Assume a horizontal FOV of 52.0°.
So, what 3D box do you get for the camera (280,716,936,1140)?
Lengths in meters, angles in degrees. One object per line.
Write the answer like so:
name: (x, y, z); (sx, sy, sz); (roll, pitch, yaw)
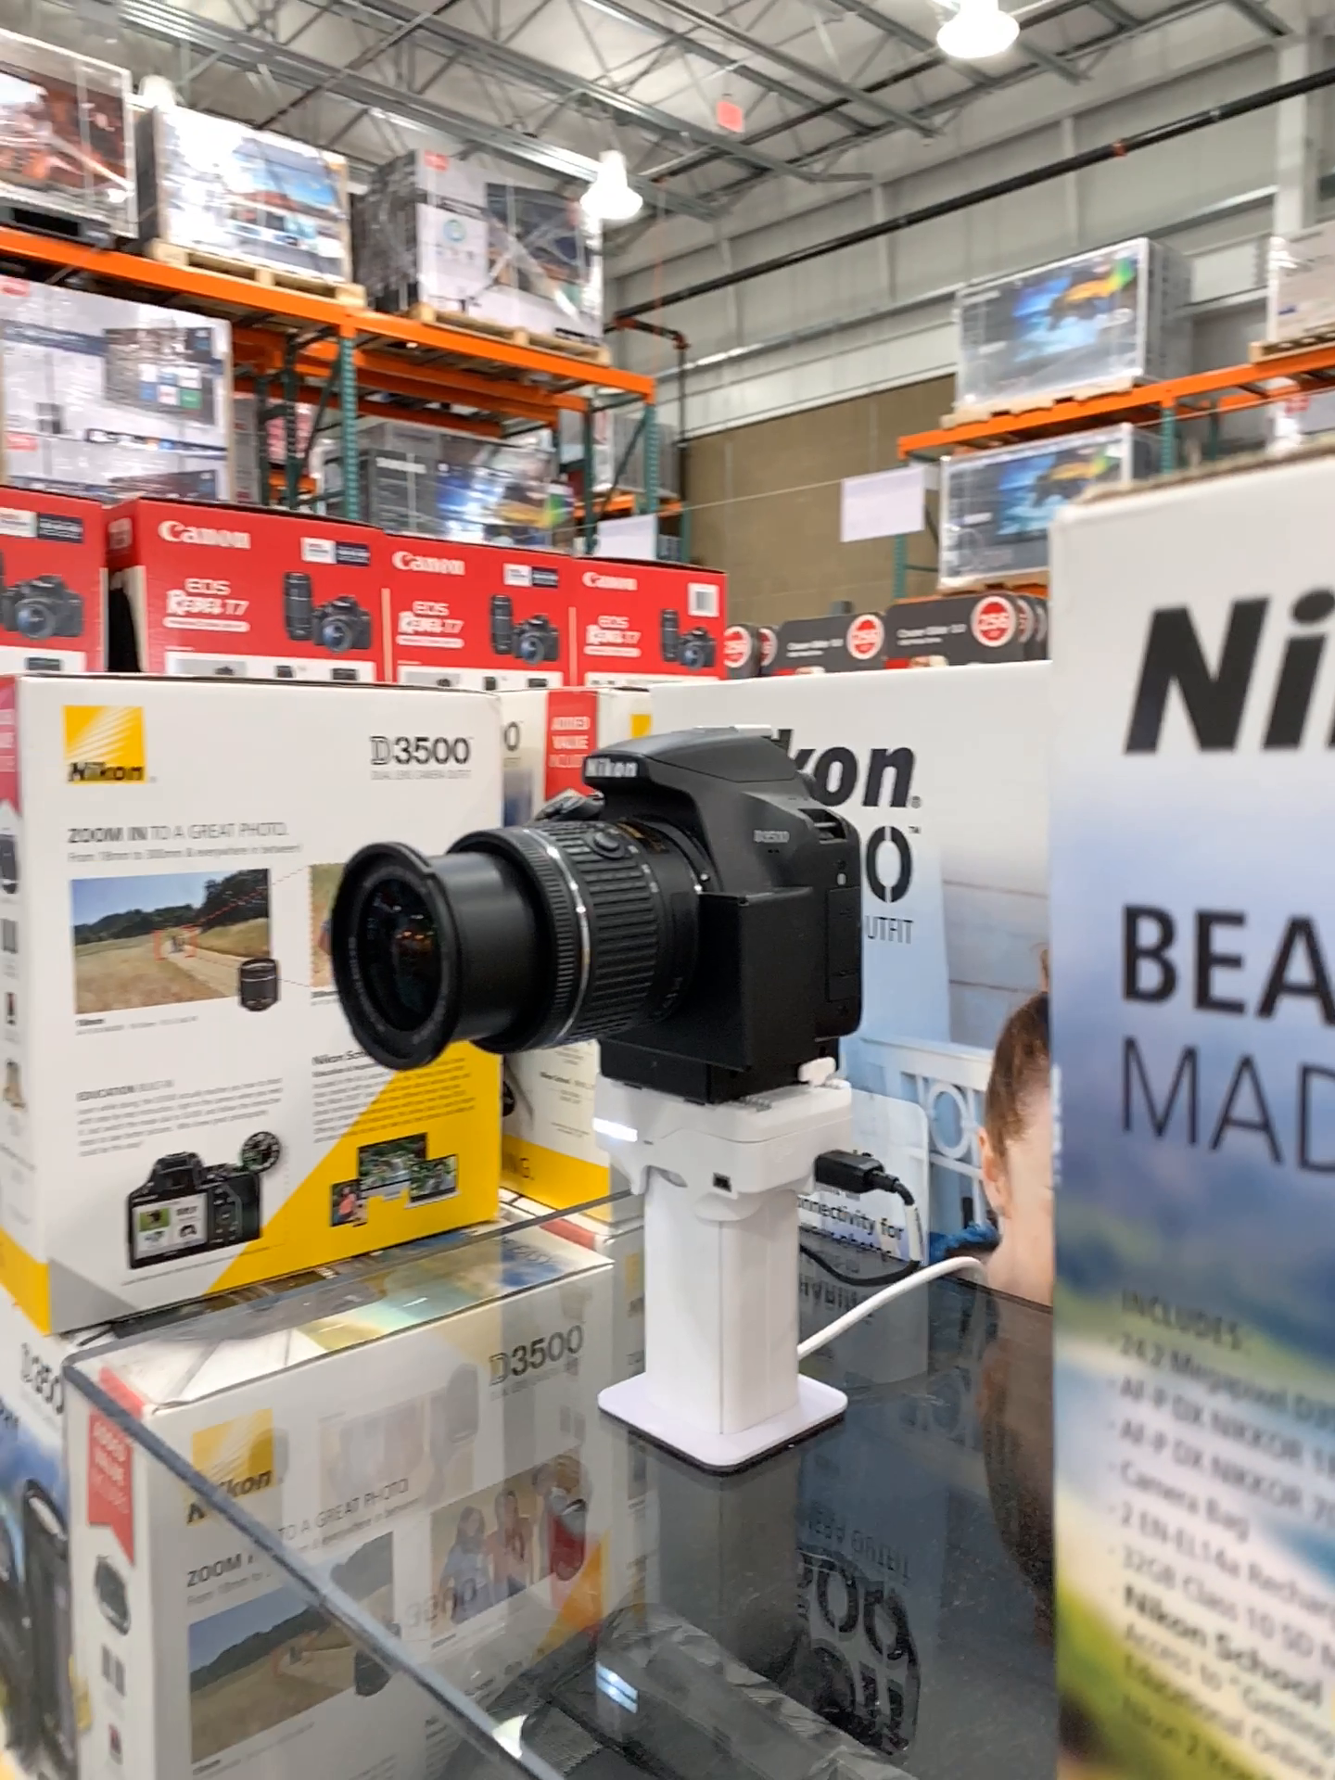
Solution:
camera: (-0.017, -0.001, 0.419); (0.150, 0.100, 0.130); (-5, 8, -42)
